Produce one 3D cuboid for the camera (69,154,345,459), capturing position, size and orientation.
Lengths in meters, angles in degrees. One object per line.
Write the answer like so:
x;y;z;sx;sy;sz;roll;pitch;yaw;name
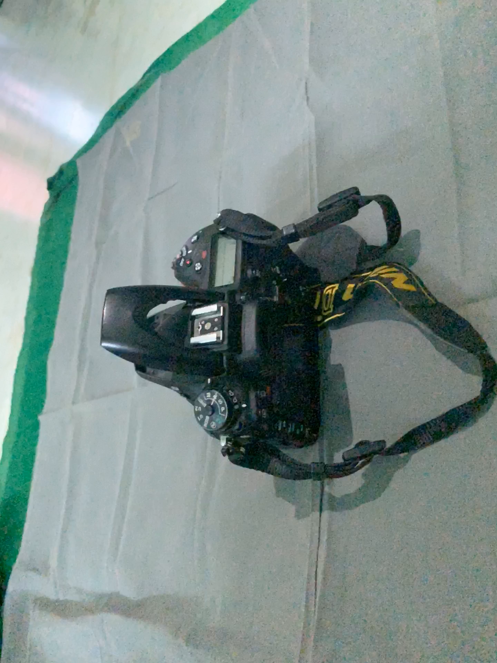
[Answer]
-0.017;0.000;0.320;0.101;0.125;0.140;-13;66;38;camera
